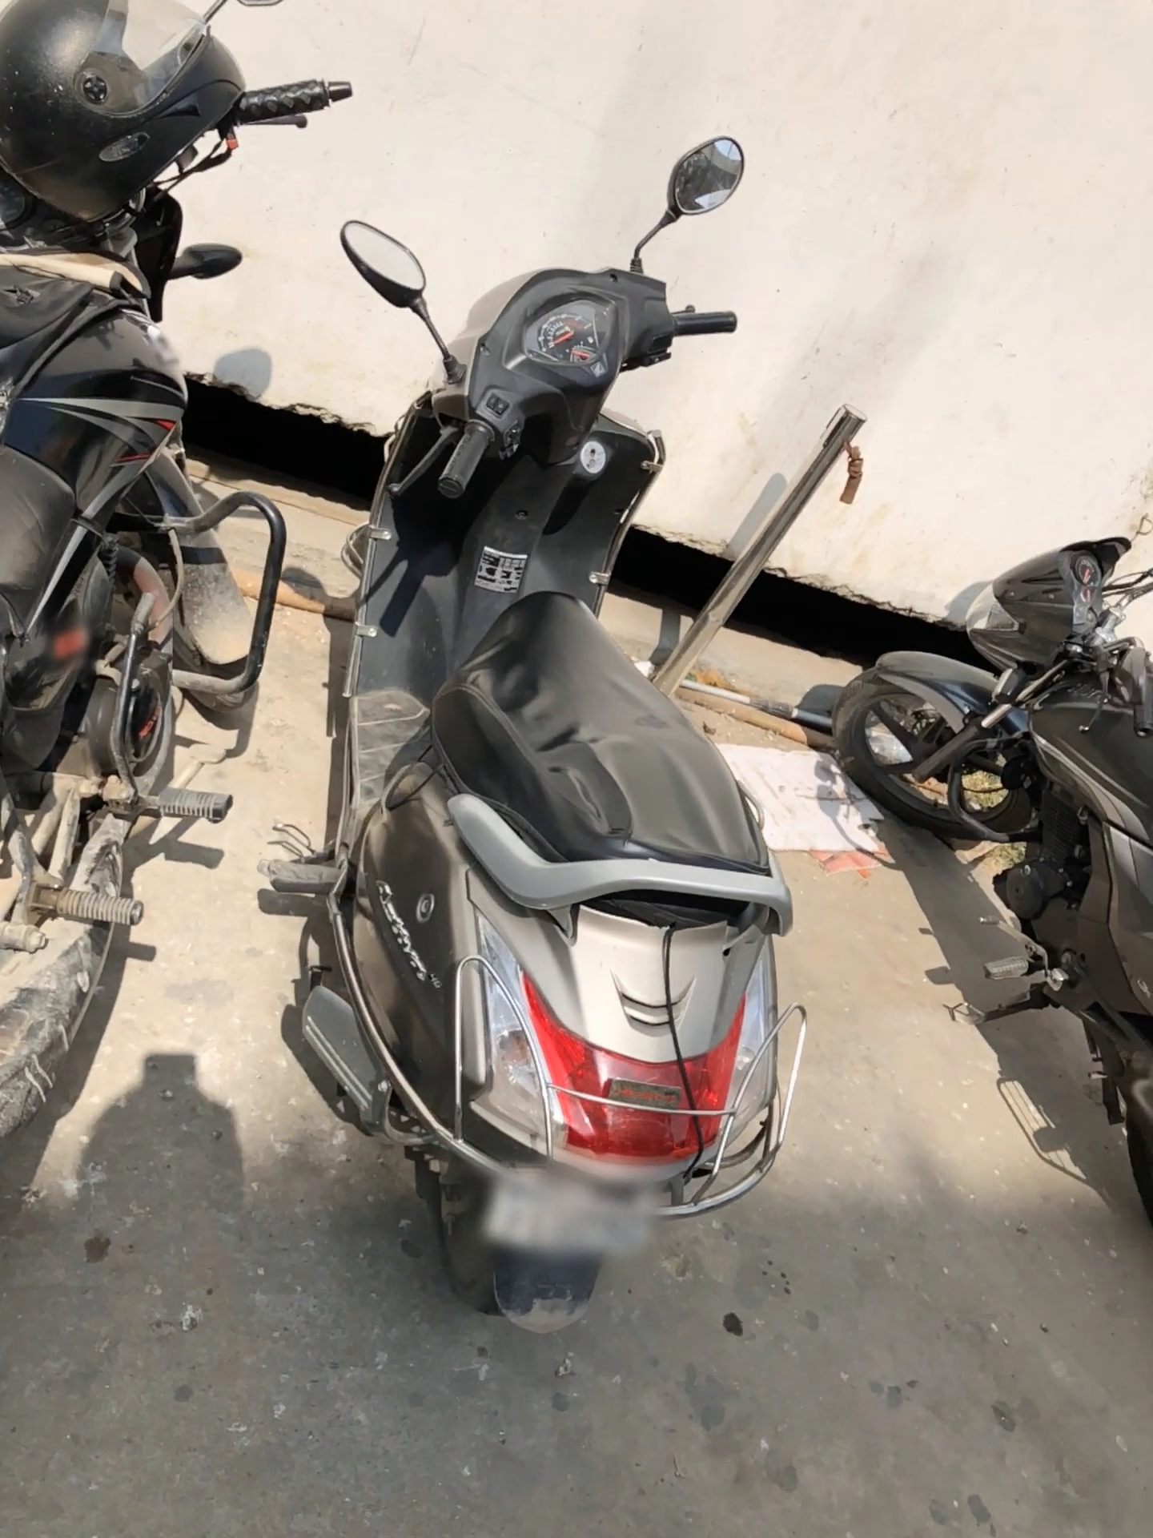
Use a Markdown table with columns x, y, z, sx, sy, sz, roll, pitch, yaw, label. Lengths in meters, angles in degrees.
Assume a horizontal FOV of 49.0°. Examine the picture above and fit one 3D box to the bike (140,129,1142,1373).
| x | y | z | sx | sy | sz | roll | pitch | yaw | label |
| --- | --- | --- | --- | --- | --- | --- | --- | --- | --- |
| -0.099 | -0.113 | 1.911 | 0.616 | 1.108 | 1.507 | 17 | 32 | -24 | bike |
